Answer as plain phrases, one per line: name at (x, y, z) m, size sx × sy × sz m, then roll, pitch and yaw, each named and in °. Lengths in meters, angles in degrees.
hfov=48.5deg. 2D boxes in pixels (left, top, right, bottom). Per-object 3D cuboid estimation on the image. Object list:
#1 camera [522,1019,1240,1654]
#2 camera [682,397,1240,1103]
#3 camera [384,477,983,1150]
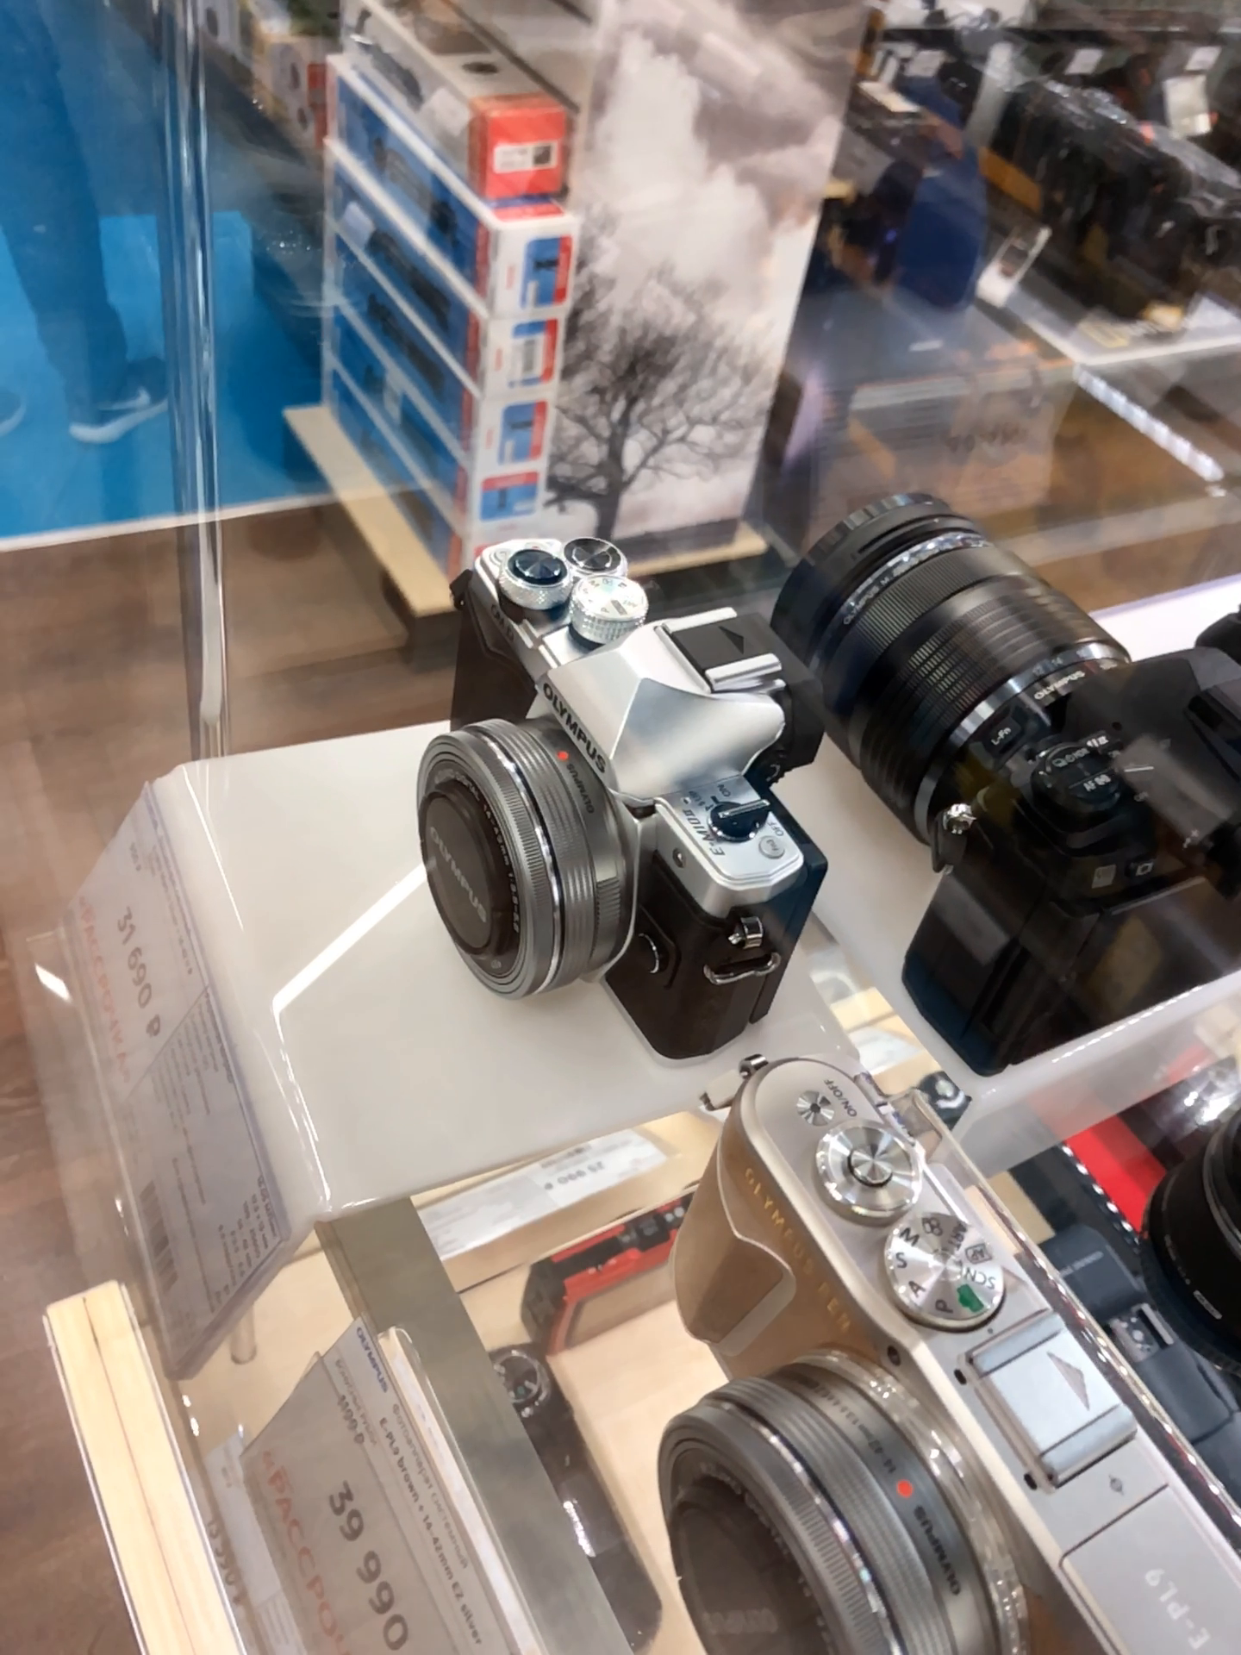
camera at (0.048, 0.113, 0.223) m, size 0.065 × 0.062 × 0.140 m, roll -16°, pitch 52°, yaw -27°
camera at (0.101, -0.027, 0.340) m, size 0.102 × 0.087 × 0.137 m, roll -15°, pitch 51°, yaw -26°
camera at (0.005, -0.009, 0.316) m, size 0.072 × 0.080 × 0.120 m, roll -16°, pitch 52°, yaw -27°
